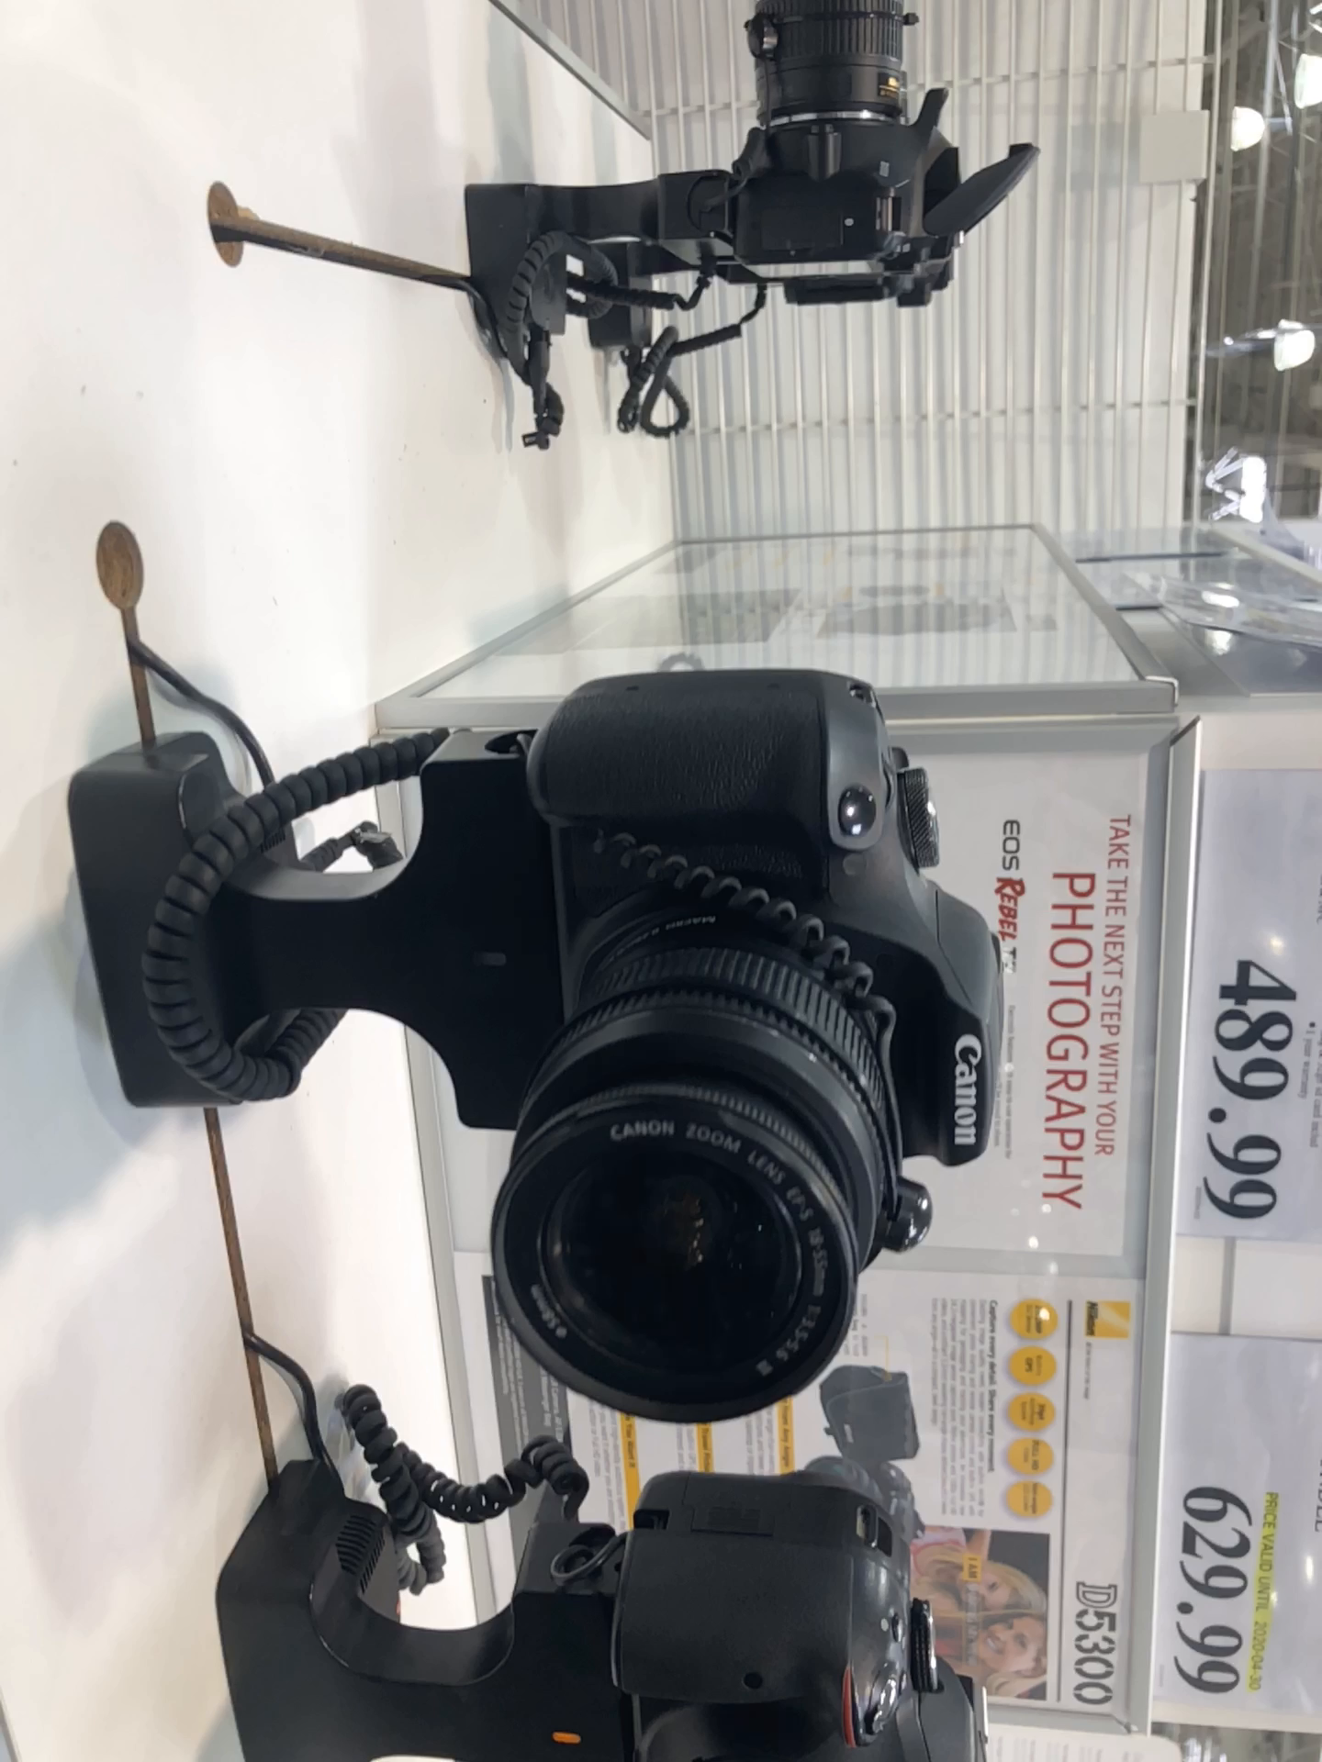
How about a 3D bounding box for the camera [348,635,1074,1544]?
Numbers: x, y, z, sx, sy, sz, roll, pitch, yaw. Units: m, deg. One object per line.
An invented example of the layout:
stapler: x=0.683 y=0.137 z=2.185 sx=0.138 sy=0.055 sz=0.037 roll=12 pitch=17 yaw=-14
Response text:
camera: x=0.021 y=0.029 z=0.312 sx=0.150 sy=0.110 sz=0.130 roll=-67 pitch=156 yaw=-67
